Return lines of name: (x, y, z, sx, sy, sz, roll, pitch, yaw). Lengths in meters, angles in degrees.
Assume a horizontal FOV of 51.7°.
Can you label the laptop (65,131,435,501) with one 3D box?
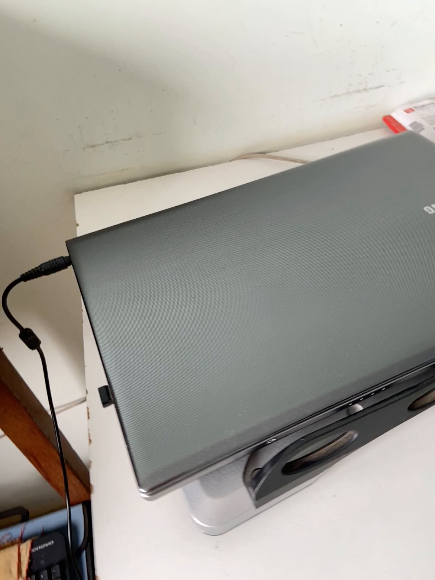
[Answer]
laptop: (0.083, -0.028, 0.361, 0.374, 0.005, 0.237, -21, 47, -13)
